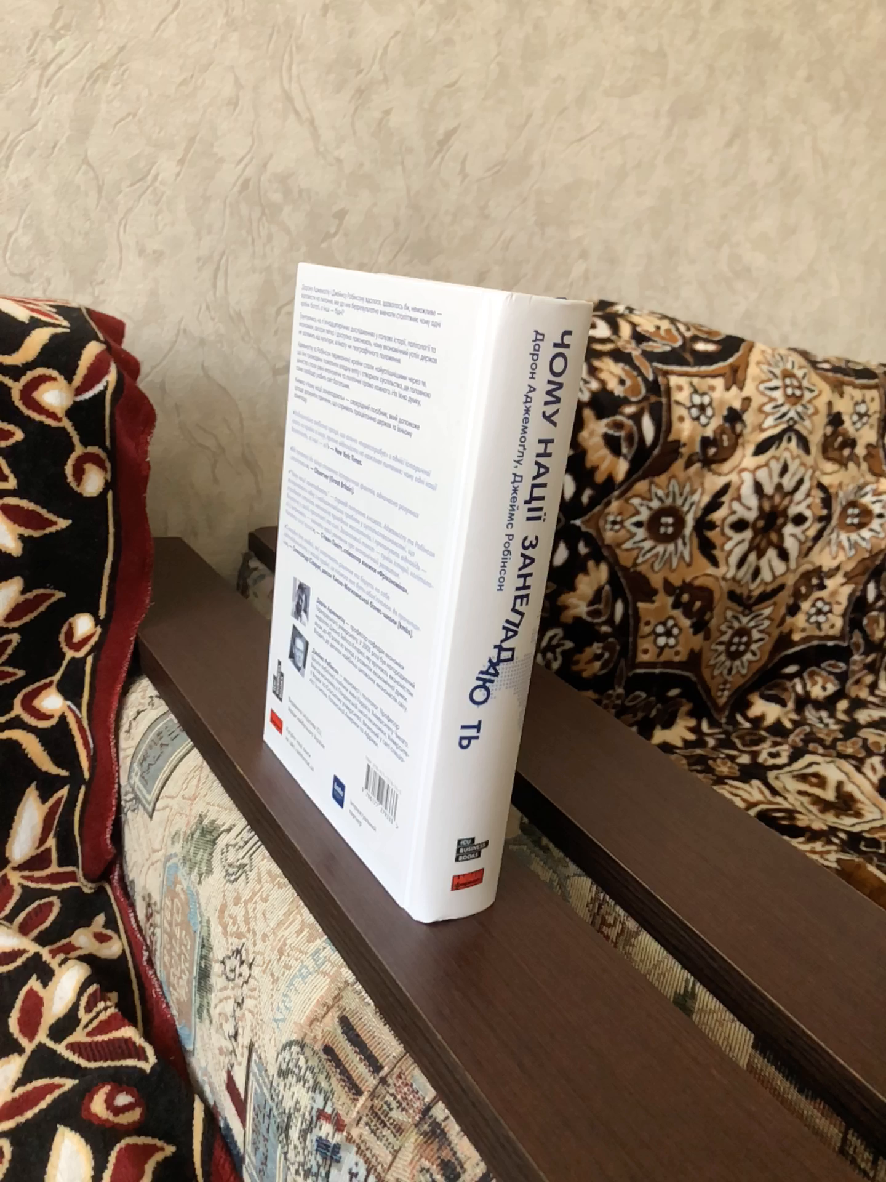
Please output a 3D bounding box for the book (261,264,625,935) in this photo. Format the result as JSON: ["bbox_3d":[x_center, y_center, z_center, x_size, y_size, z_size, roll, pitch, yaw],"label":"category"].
[{"bbox_3d":[-0.015,-0.008,0.377,0.042,0.212,0.151,-4,20,-32],"label":"book"}]
